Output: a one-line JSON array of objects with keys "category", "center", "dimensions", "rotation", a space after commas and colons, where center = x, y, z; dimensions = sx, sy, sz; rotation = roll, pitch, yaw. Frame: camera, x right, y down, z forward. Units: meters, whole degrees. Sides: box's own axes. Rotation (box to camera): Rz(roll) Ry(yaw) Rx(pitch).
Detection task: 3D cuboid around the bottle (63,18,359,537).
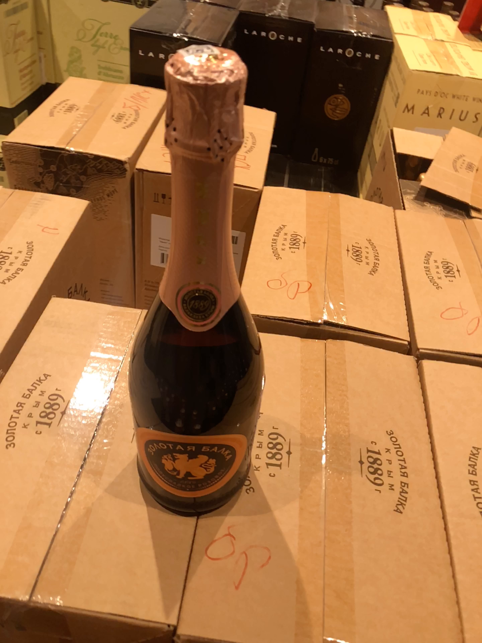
[{"category": "bottle", "center": [-0.022, 0.009, 0.316], "dimensions": [0.100, 0.308, 0.091], "rotation": [7, 43, -1]}]
